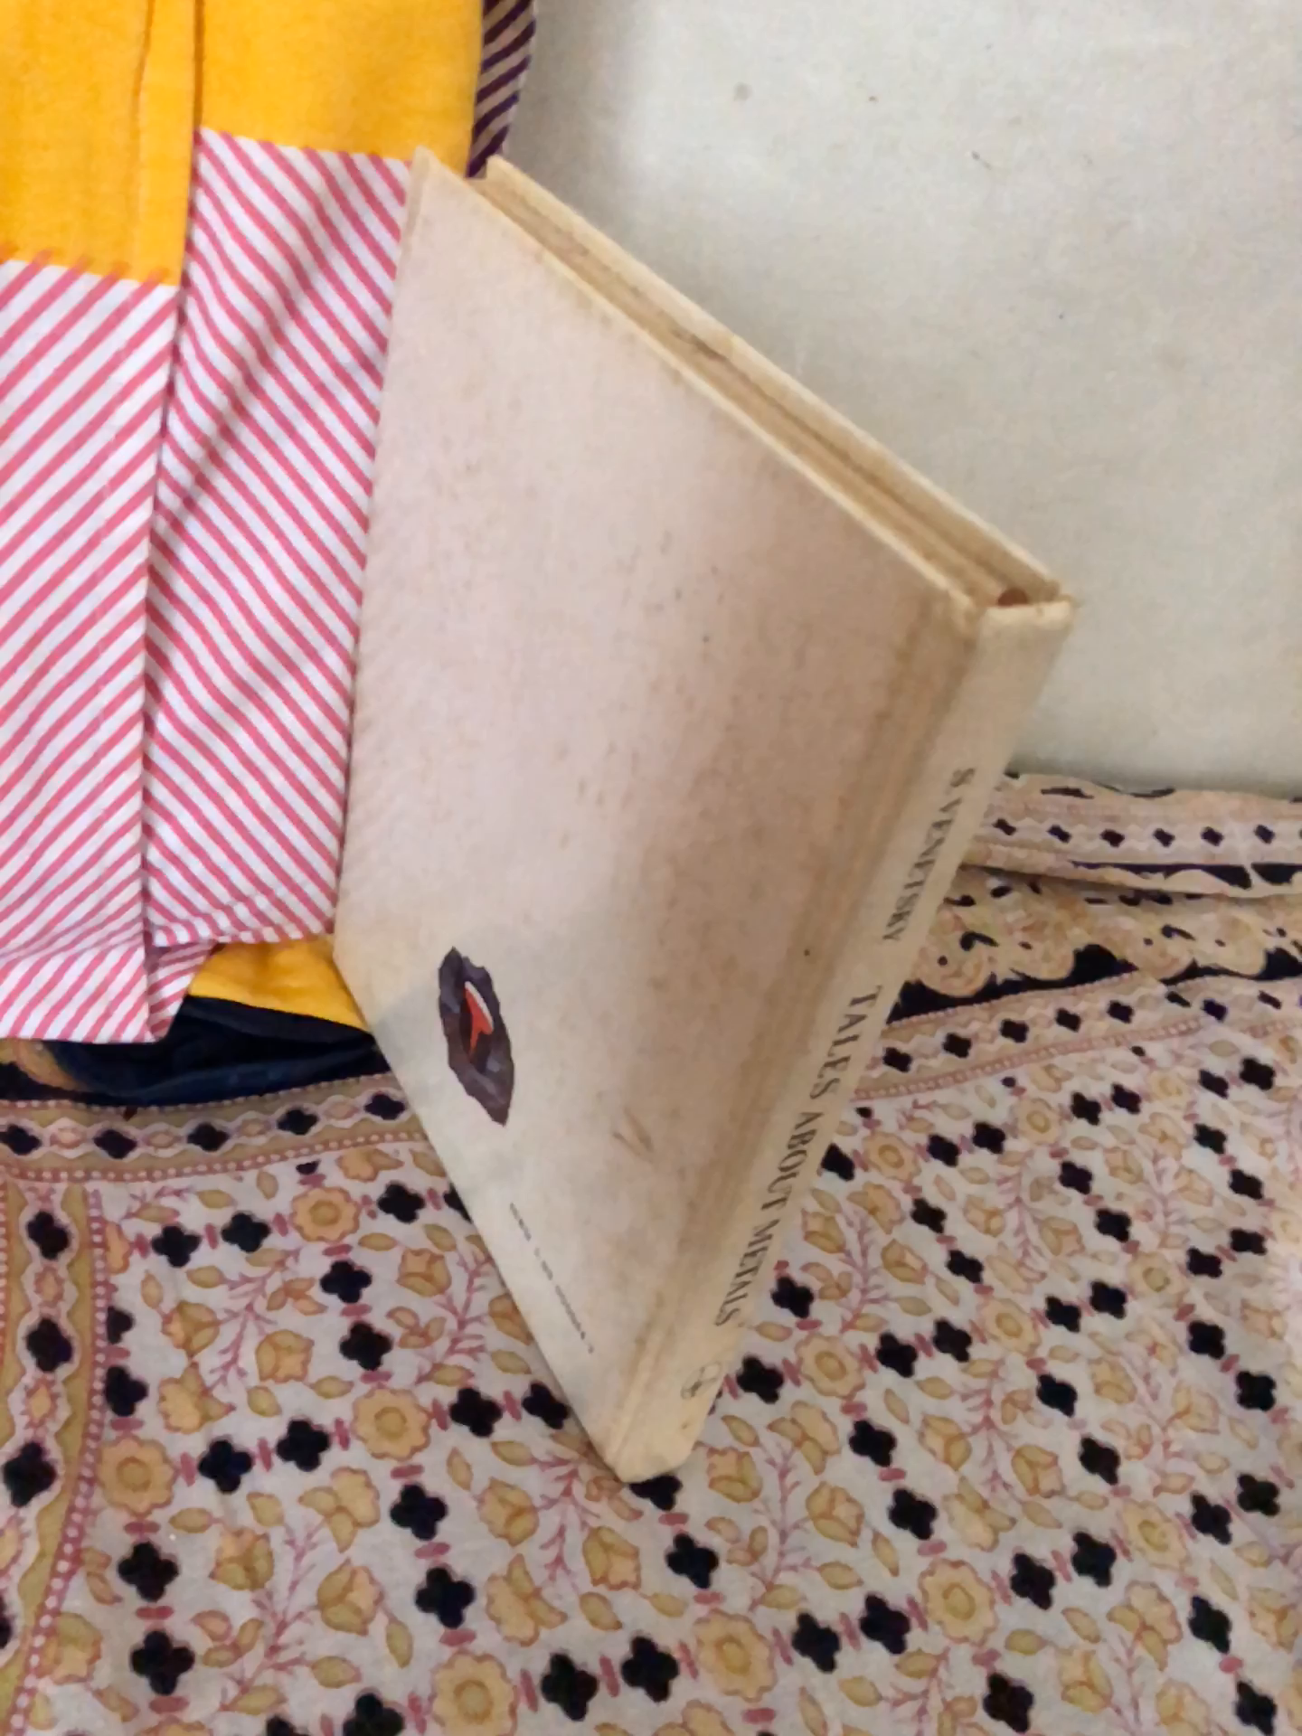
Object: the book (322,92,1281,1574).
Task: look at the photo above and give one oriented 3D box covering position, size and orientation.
[{"bbox_3d":[-0.007,-0.007,0.315,0.050,0.249,0.190,-11,41,-31],"label":"book"}]
